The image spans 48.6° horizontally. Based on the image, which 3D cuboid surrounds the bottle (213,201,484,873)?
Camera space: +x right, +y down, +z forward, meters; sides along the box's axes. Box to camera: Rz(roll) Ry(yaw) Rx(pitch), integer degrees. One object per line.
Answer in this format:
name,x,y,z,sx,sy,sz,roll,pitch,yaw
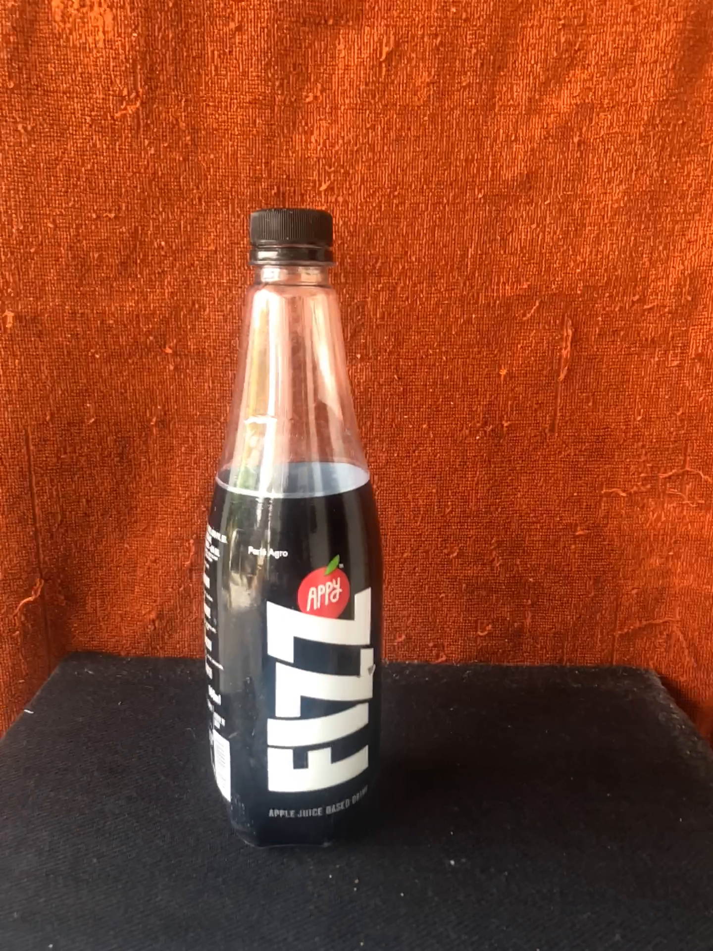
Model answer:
bottle,-0.009,0.021,0.283,0.070,0.219,0.060,-4,17,-23
